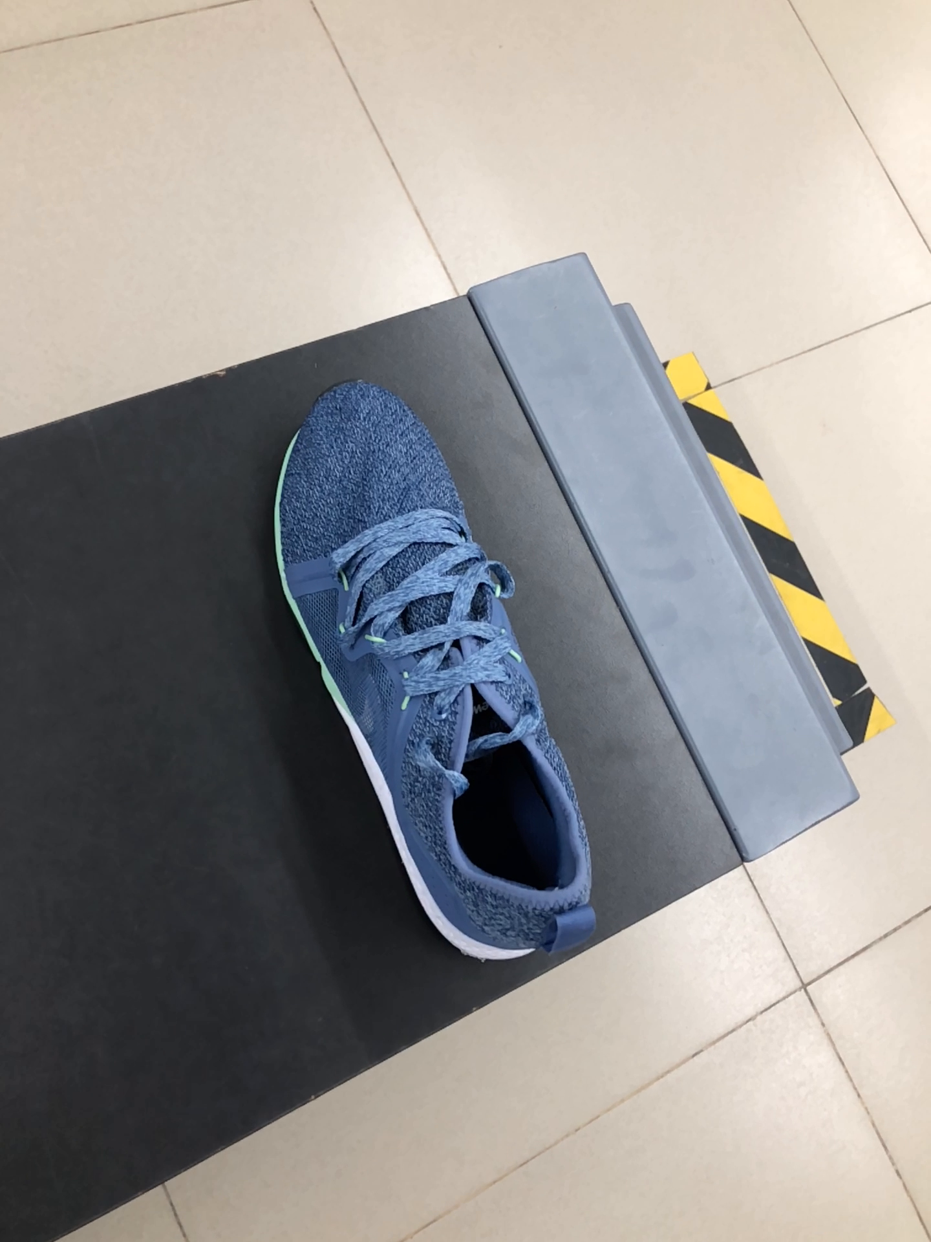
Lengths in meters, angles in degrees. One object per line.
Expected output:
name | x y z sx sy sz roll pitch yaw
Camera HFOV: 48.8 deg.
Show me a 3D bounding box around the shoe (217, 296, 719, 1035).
shoe | -0.009 0.014 0.443 0.100 0.080 0.280 -21 82 -18
